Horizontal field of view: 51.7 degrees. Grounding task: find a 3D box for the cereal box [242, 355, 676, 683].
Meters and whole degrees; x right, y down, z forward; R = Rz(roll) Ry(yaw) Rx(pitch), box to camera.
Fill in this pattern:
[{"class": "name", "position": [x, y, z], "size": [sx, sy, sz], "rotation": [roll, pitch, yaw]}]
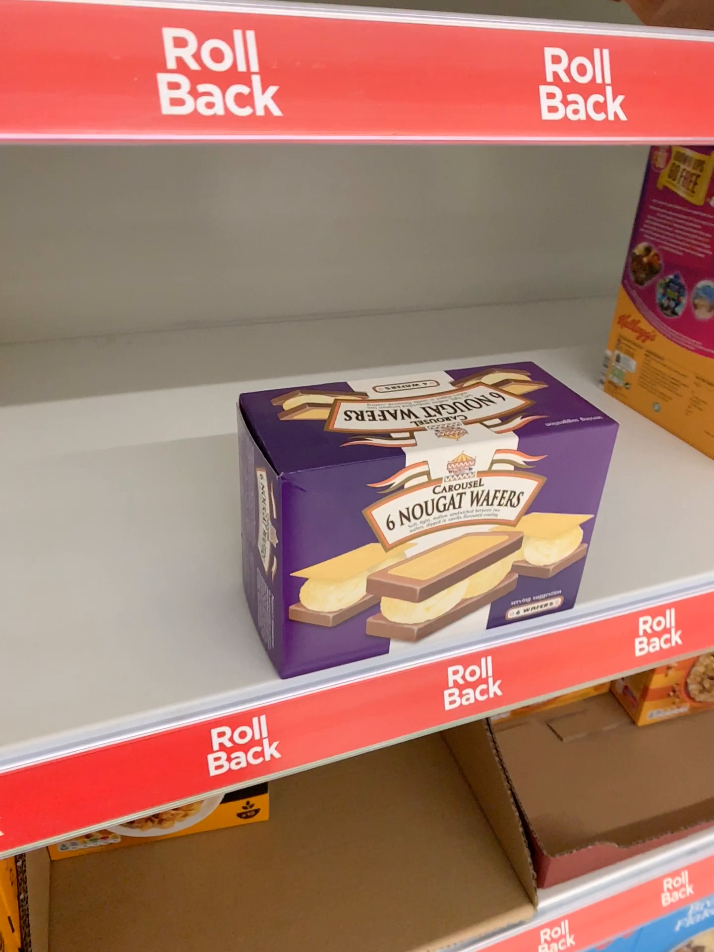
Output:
[{"class": "cereal box", "position": [0.046, 0.013, 0.385], "size": [0.190, 0.109, 0.091], "rotation": [-9, 32, -20]}]
